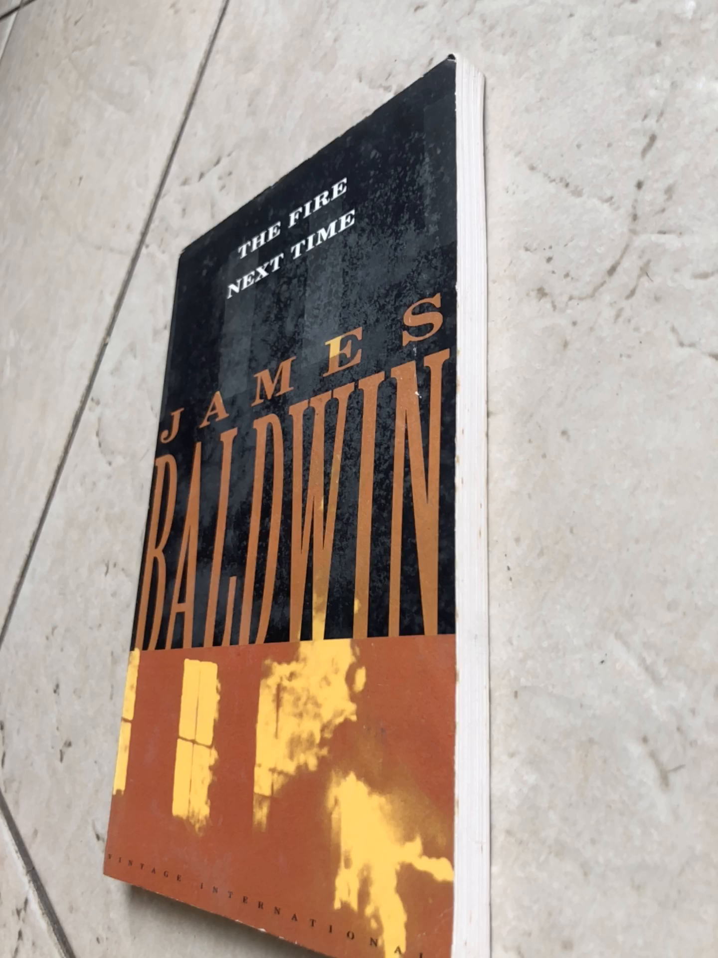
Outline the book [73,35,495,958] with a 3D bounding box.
[{"bbox_3d":[-0.022,0.006,0.209,0.131,0.016,0.200,-15,66,45],"label":"book"}]
